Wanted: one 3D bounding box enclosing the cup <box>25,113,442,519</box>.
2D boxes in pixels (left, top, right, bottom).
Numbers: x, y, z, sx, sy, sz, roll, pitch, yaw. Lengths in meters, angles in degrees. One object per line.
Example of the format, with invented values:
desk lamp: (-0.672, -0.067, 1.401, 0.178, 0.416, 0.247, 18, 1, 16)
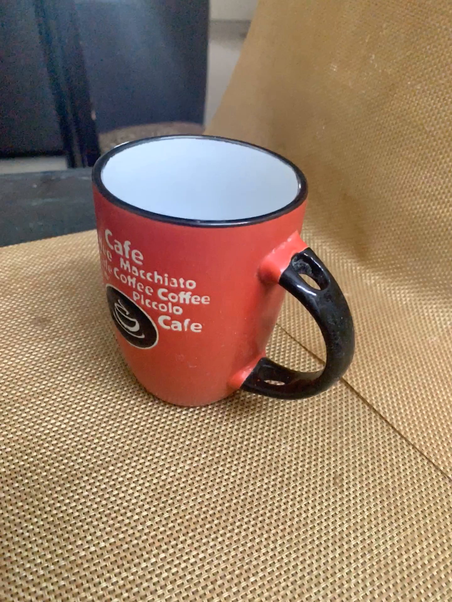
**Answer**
cup: (0.002, -0.004, 0.199, 0.120, 0.099, 0.091, 26, 42, 23)
